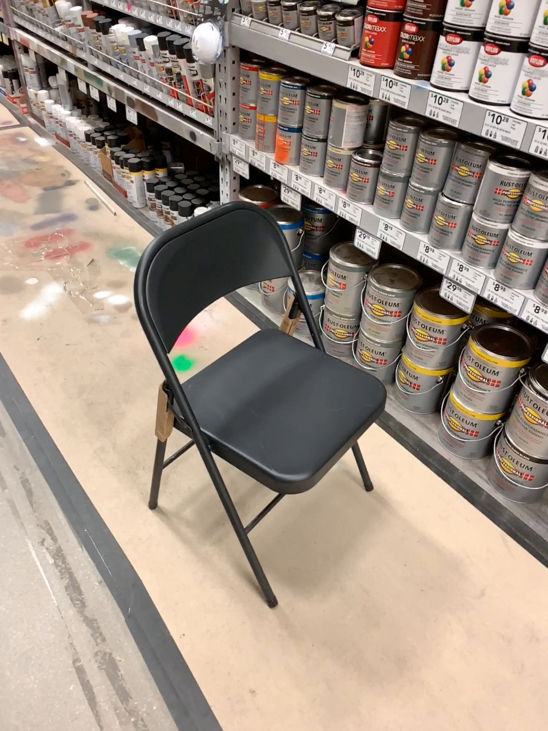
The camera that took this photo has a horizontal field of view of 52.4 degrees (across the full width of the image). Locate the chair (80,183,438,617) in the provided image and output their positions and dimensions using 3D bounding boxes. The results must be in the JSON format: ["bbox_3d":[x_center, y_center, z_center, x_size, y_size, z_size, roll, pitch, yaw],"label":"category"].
[{"bbox_3d":[-0.033,0.069,1.247,0.475,0.713,0.452,30,47,29],"label":"chair"}]
